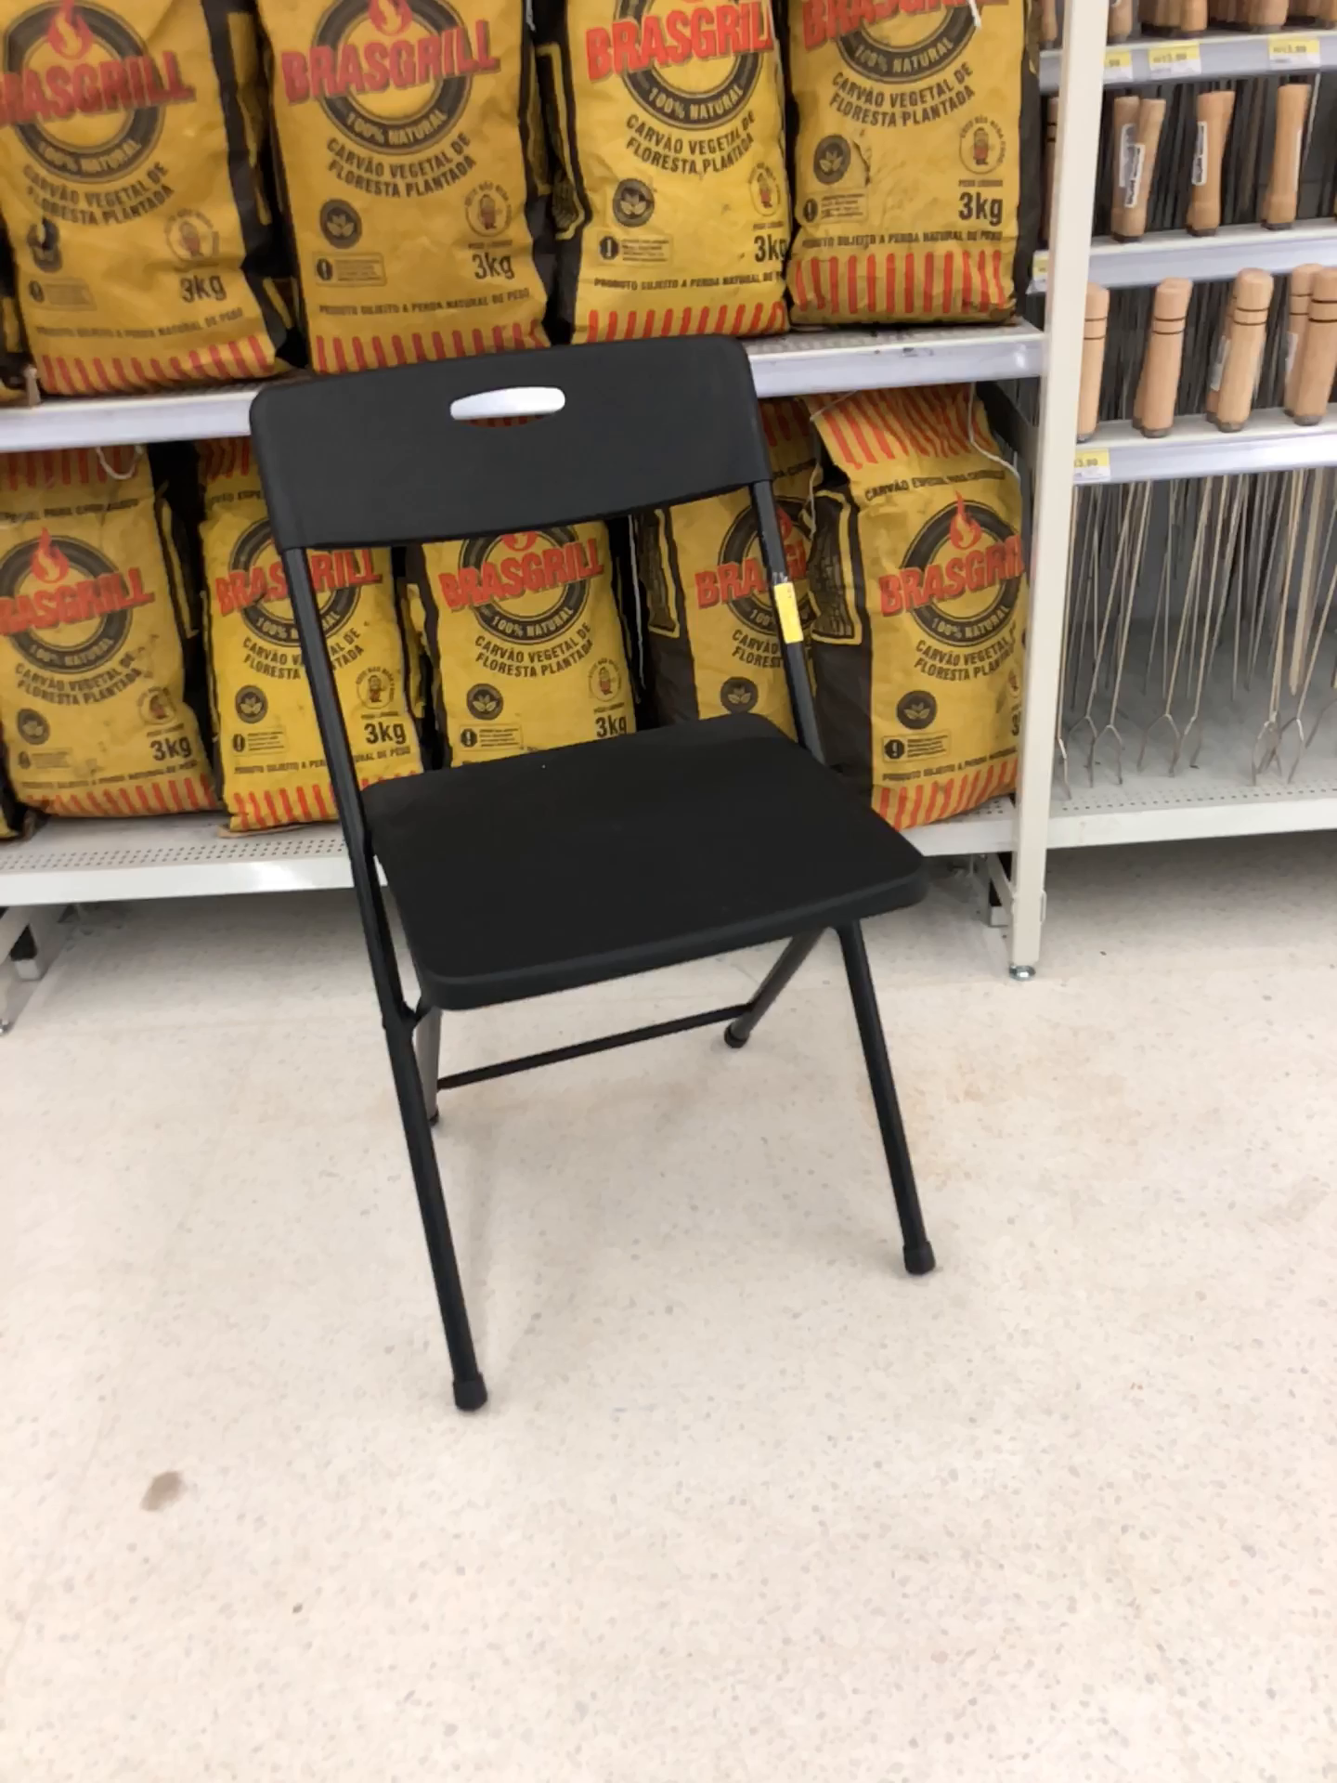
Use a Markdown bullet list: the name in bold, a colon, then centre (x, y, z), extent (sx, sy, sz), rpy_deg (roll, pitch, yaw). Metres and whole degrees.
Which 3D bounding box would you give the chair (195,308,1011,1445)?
- **chair**: centre (-0.059, -0.041, 1.186), extent (0.460, 0.715, 0.453), rpy_deg (-12, 30, -14)
